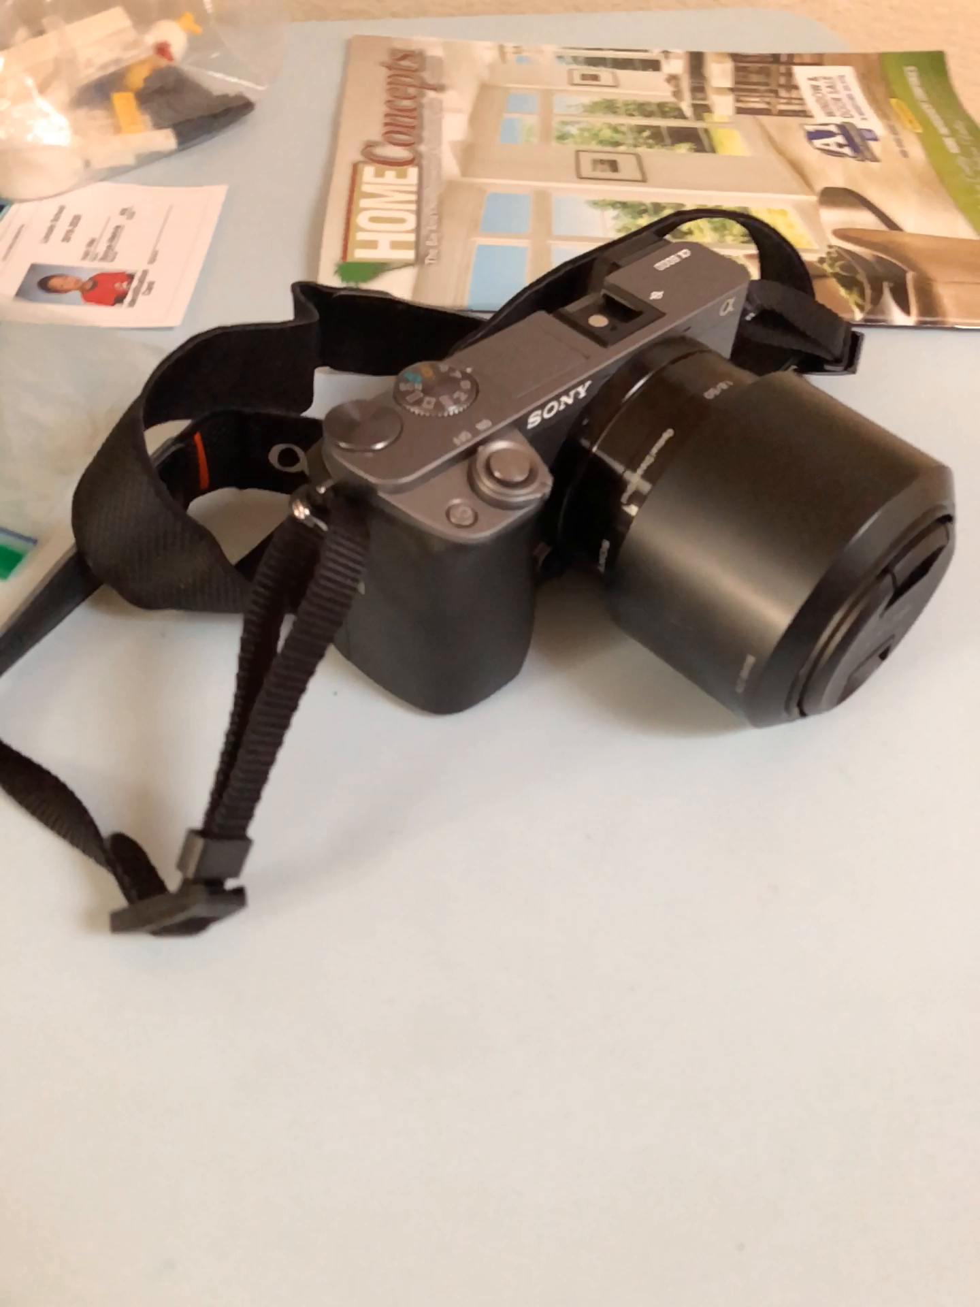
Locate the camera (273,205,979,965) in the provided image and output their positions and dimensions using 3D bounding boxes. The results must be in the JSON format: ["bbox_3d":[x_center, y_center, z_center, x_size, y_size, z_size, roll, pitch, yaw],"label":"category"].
[{"bbox_3d":[0.040,-0.025,0.243,0.130,0.070,0.110,-34,61,-28],"label":"camera"}]
